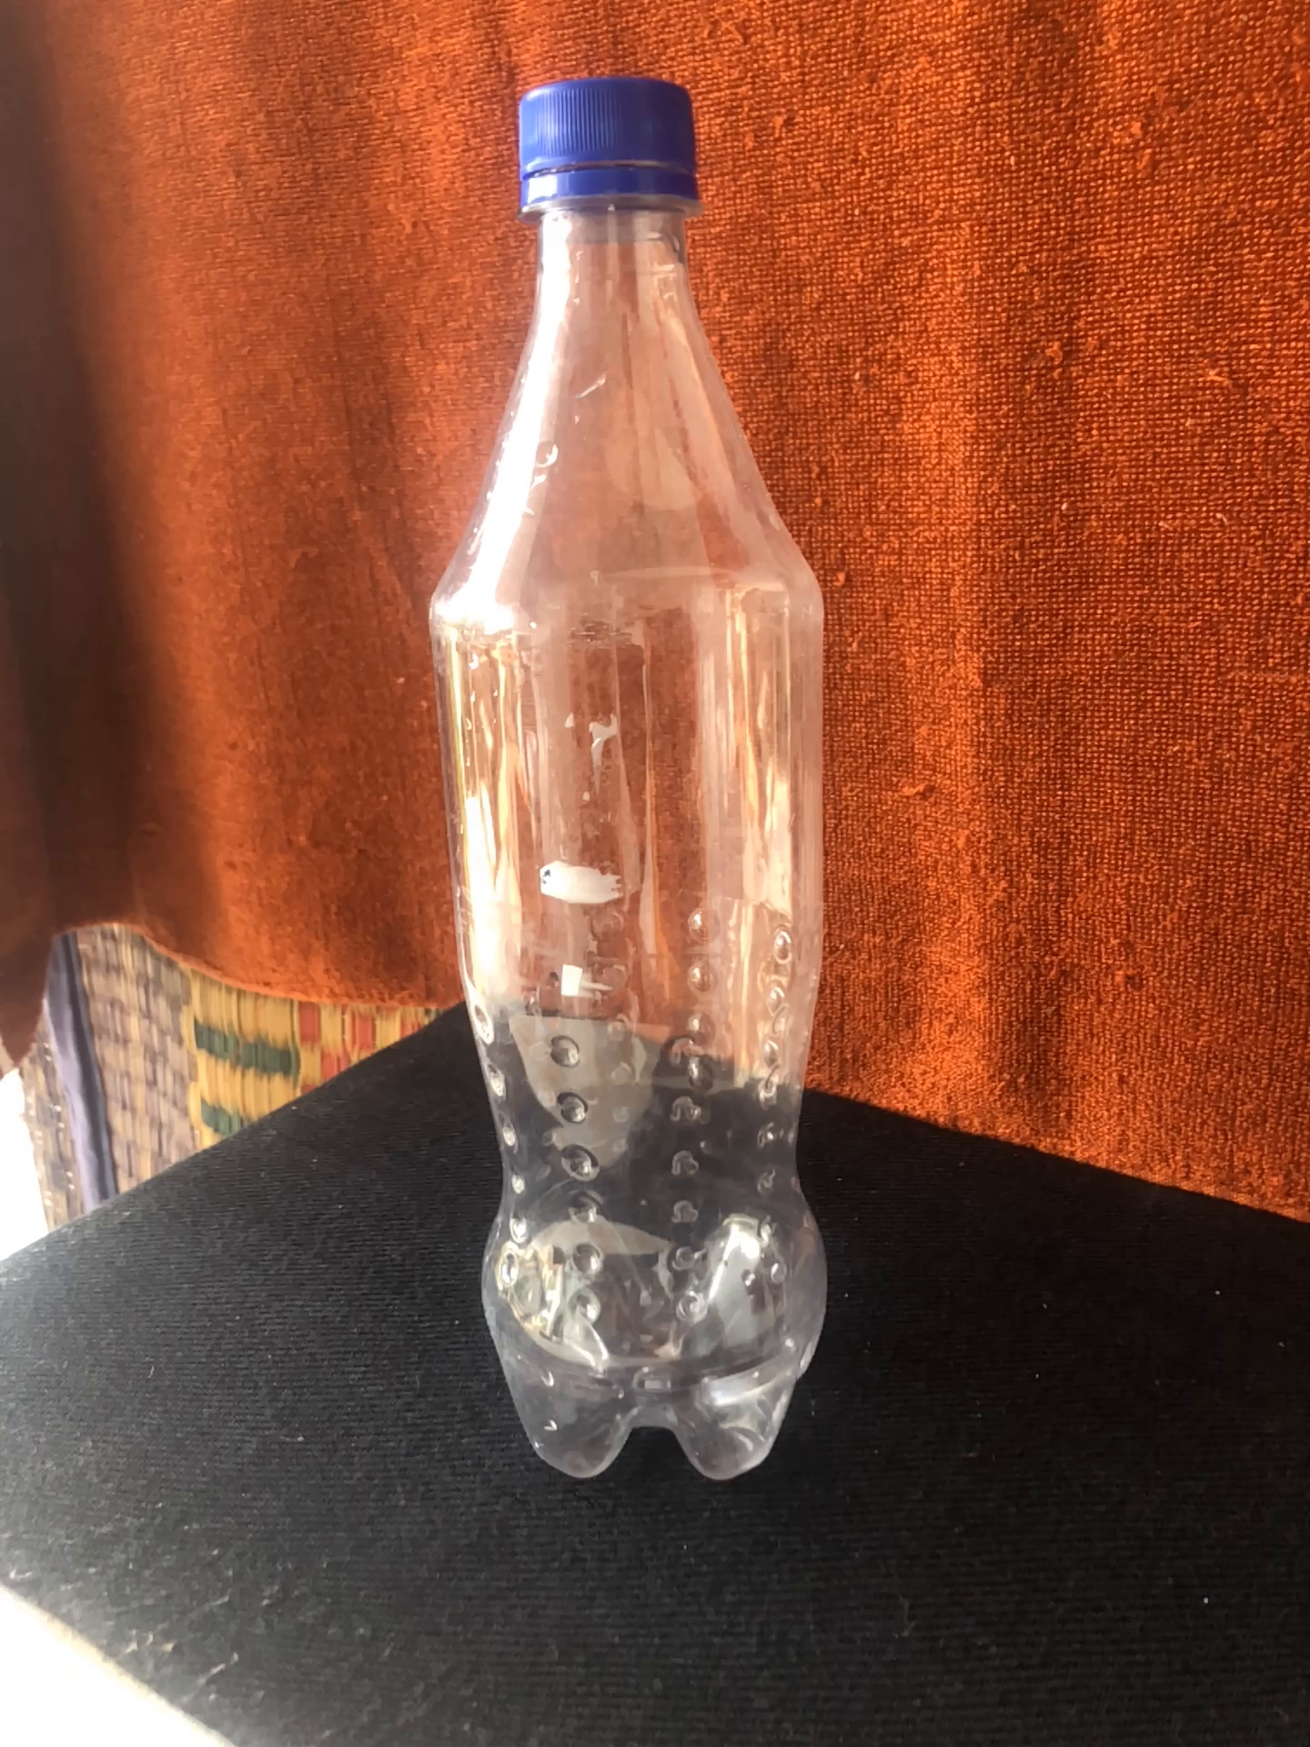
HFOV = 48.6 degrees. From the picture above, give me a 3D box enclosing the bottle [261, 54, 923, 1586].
[{"bbox_3d":[-0.009,-0.006,0.278,0.080,0.249,0.090,-11,20,-16],"label":"bottle"}]
